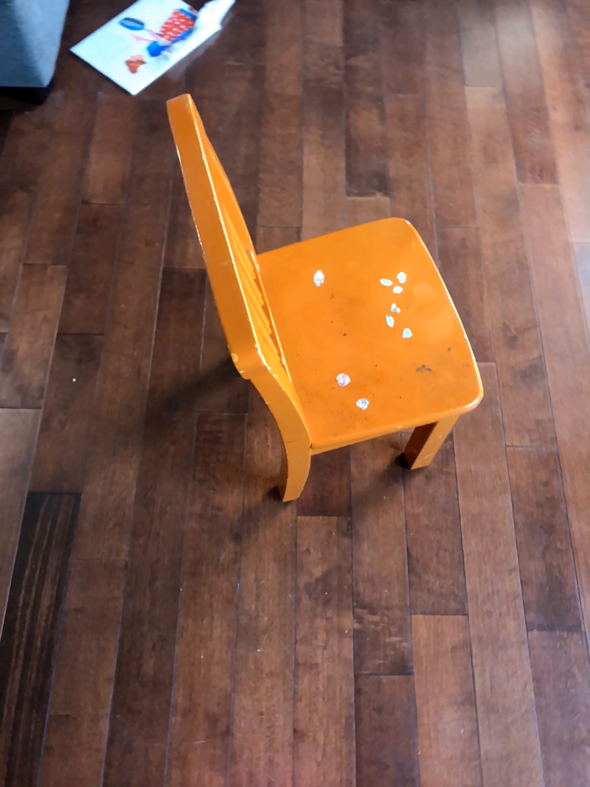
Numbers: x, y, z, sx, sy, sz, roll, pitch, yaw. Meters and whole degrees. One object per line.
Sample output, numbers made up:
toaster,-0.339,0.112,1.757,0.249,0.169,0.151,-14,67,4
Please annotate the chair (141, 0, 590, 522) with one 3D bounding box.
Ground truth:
chair,0.061,-0.114,0.838,0.350,0.569,0.360,-13,67,-6
